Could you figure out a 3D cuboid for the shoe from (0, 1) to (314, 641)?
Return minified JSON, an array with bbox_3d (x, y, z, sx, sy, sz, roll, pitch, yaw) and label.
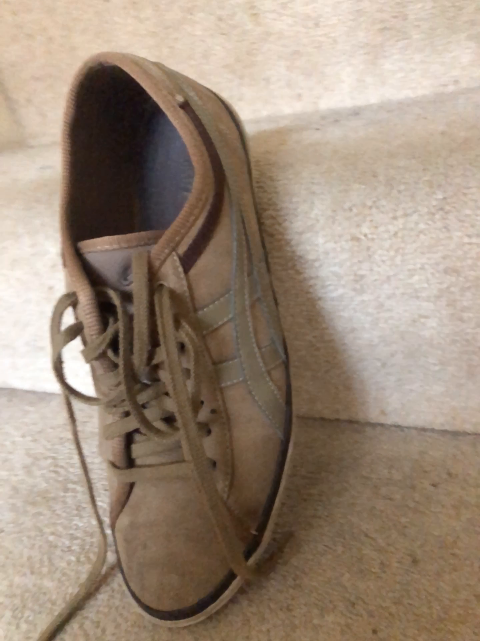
[{"bbox_3d":[-0.035,0.017,0.284,0.110,0.301,0.120,-5,-15,28],"label":"shoe"}]
